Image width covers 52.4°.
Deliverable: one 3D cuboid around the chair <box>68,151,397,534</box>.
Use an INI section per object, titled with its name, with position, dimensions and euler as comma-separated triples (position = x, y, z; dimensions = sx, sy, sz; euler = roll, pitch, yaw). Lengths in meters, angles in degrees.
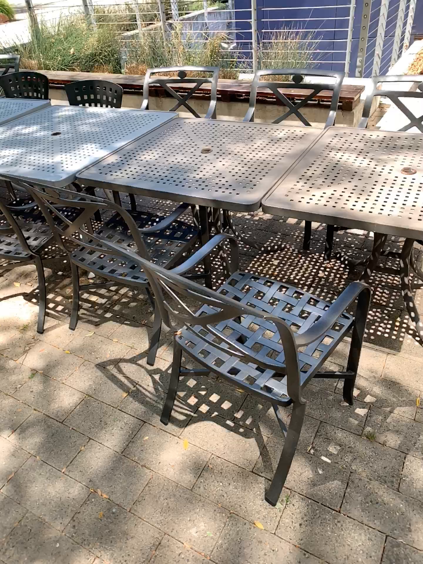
[chair]
position = 0.088, 0.162, 1.411
dimensions = 0.633, 0.884, 0.611
euler = 25, 47, 33
